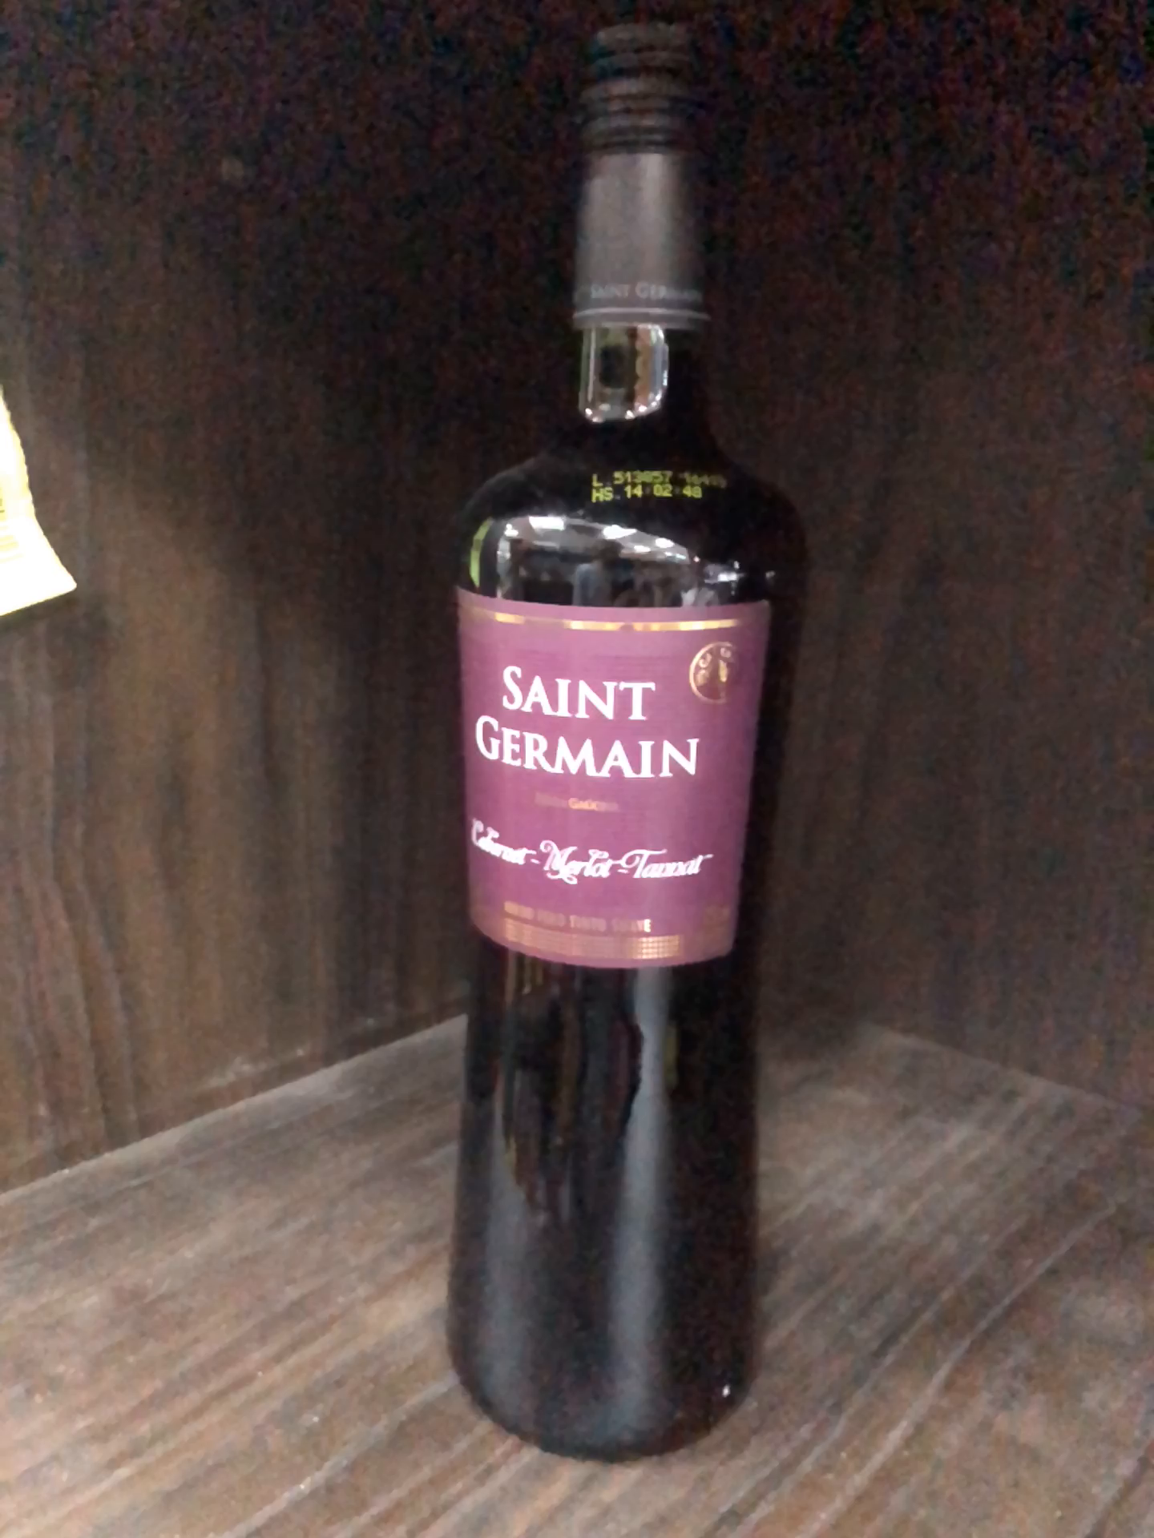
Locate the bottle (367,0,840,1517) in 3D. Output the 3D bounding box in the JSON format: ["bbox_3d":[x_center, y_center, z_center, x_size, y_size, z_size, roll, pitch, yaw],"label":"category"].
[{"bbox_3d":[0.006,-0.004,0.281,0.080,0.309,0.070,4,12,11],"label":"bottle"}]
